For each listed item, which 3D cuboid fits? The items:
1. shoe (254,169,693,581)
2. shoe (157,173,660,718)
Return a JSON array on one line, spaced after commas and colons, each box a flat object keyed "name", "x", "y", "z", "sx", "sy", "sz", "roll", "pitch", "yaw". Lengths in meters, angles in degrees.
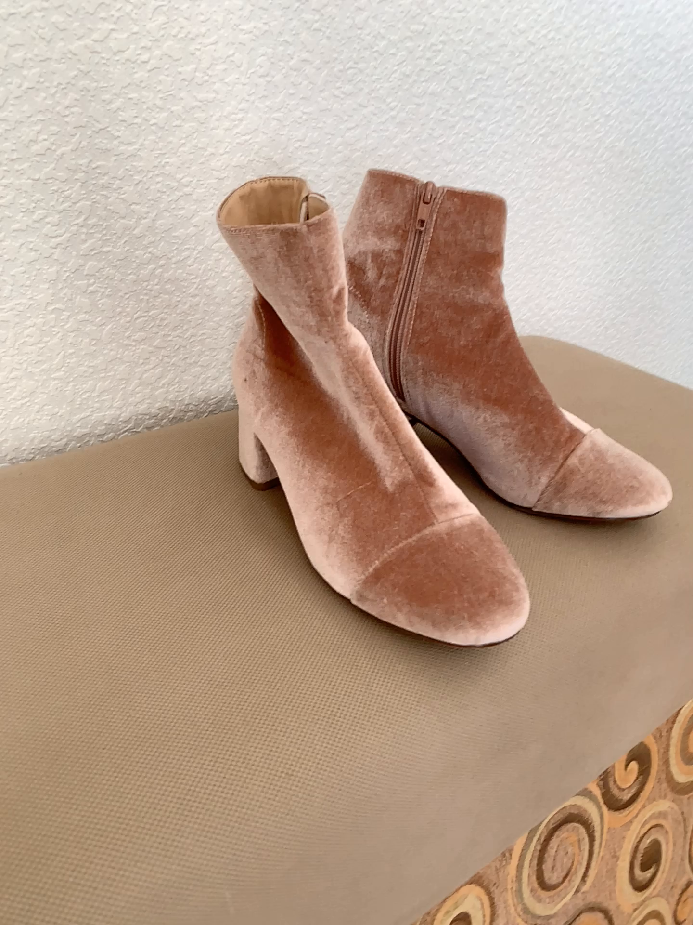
[{"name": "shoe", "x": 0.078, "y": -0.072, "z": 0.448, "sx": 0.271, "sy": 0.169, "sz": 0.100, "roll": 22, "pitch": 36, "yaw": 30}, {"name": "shoe", "x": 0.004, "y": -0.033, "z": 0.354, "sx": 0.100, "sy": 0.169, "sz": 0.231, "roll": -17, "pitch": 36, "yaw": -29}]
